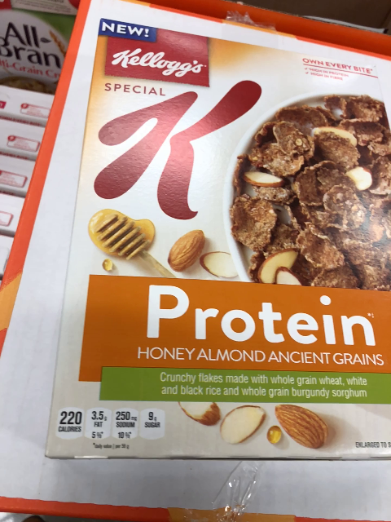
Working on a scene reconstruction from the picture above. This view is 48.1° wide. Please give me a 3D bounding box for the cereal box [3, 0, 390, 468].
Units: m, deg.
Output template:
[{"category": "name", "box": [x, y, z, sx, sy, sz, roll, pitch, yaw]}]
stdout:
[{"category": "cereal box", "box": [0.025, -0.026, 0.252, 0.200, 0.060, 0.260, 4, 66, -8]}]
